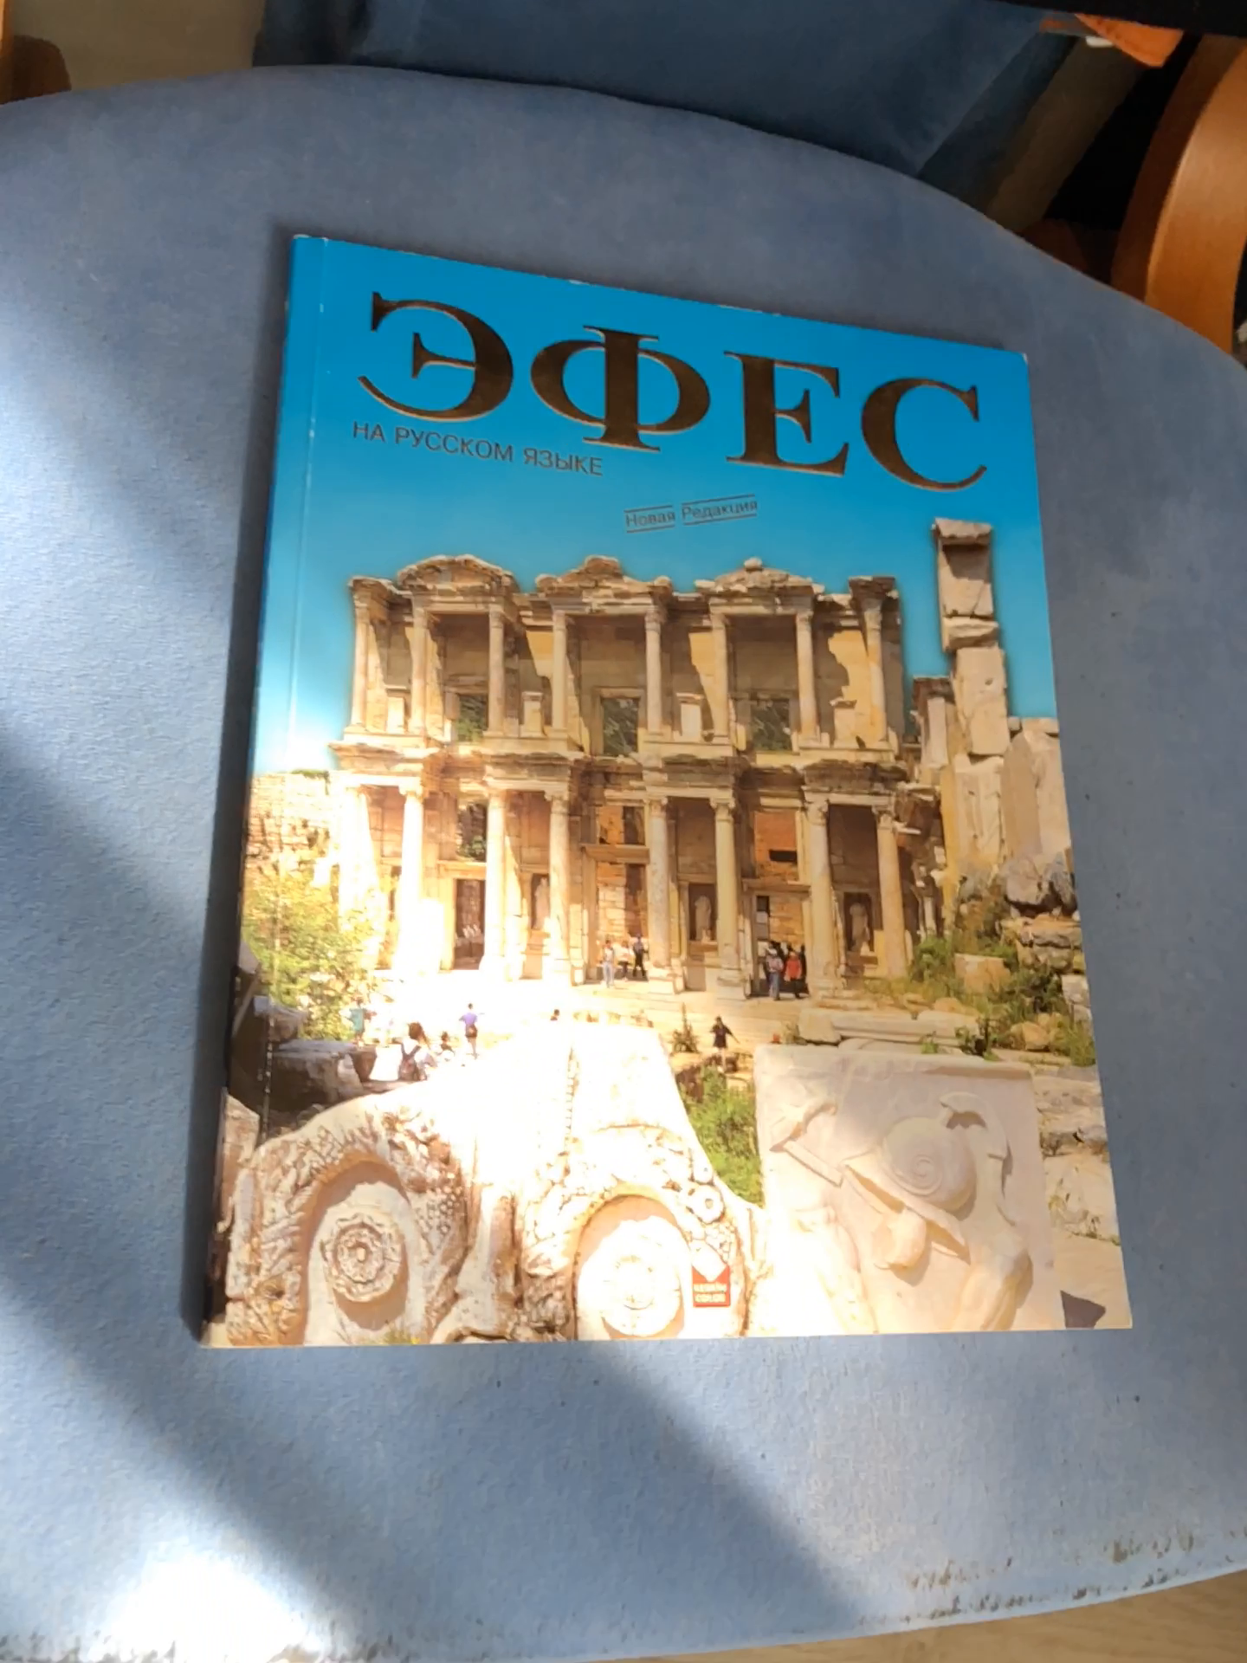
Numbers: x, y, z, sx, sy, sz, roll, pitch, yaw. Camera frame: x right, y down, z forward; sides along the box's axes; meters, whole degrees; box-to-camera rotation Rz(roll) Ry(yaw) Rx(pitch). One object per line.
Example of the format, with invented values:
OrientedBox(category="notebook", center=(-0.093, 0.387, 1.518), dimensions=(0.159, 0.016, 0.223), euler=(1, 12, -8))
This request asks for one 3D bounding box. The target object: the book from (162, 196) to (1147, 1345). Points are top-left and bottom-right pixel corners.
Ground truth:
OrientedBox(category="book", center=(0.013, -0.016, 0.307), dimensions=(0.197, 0.020, 0.240), euler=(4, 73, -14))
